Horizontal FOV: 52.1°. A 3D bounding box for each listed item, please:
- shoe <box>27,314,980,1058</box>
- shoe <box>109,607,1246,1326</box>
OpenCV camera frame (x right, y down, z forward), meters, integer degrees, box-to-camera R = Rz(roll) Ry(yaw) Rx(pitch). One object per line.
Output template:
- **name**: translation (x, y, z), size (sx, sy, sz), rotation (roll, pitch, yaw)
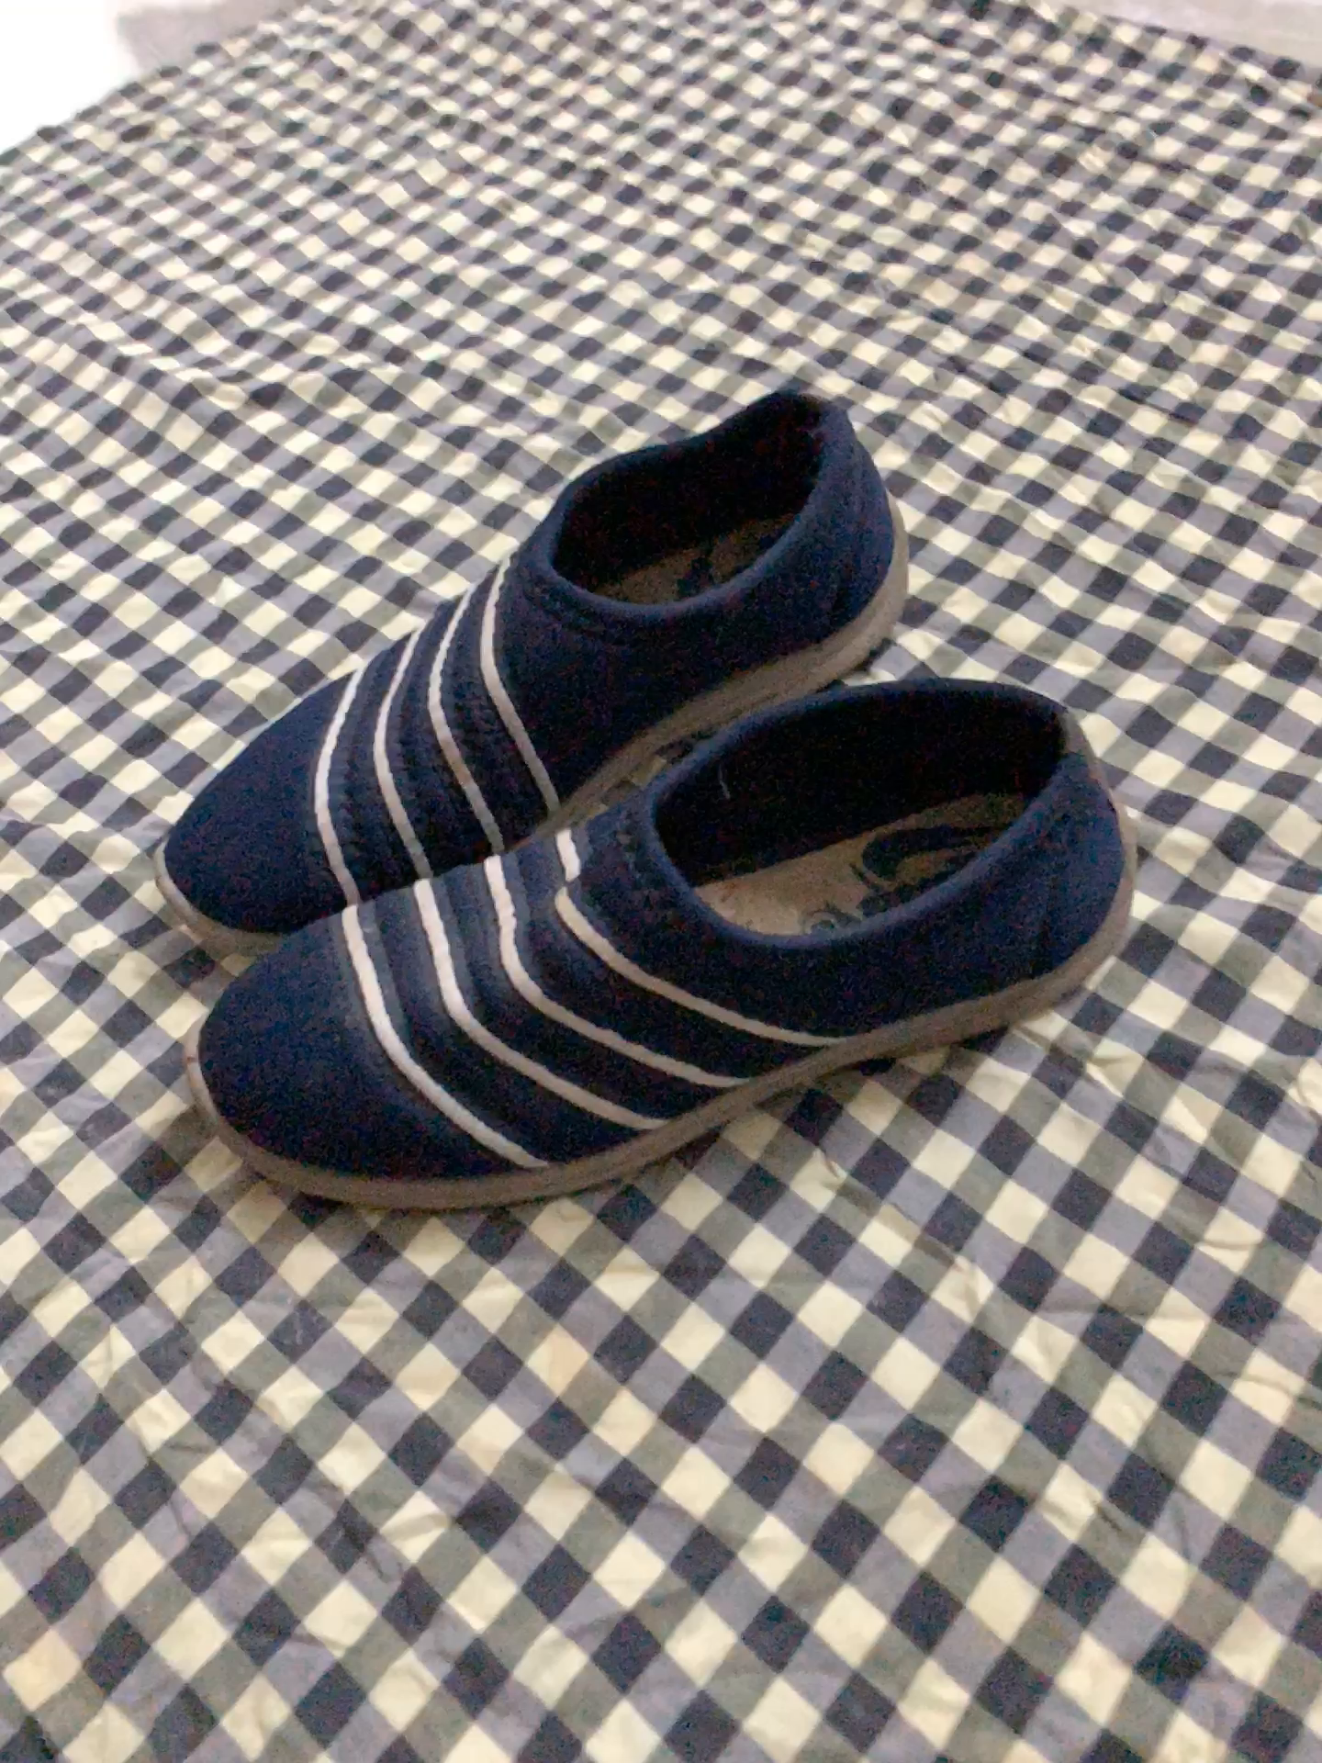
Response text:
- **shoe**: translation (-0.037, -0.064, 0.407), size (0.250, 0.089, 0.090), rotation (-29, 57, -14)
- **shoe**: translation (0.001, 0.024, 0.355), size (0.250, 0.099, 0.091), rotation (-14, 55, -4)
